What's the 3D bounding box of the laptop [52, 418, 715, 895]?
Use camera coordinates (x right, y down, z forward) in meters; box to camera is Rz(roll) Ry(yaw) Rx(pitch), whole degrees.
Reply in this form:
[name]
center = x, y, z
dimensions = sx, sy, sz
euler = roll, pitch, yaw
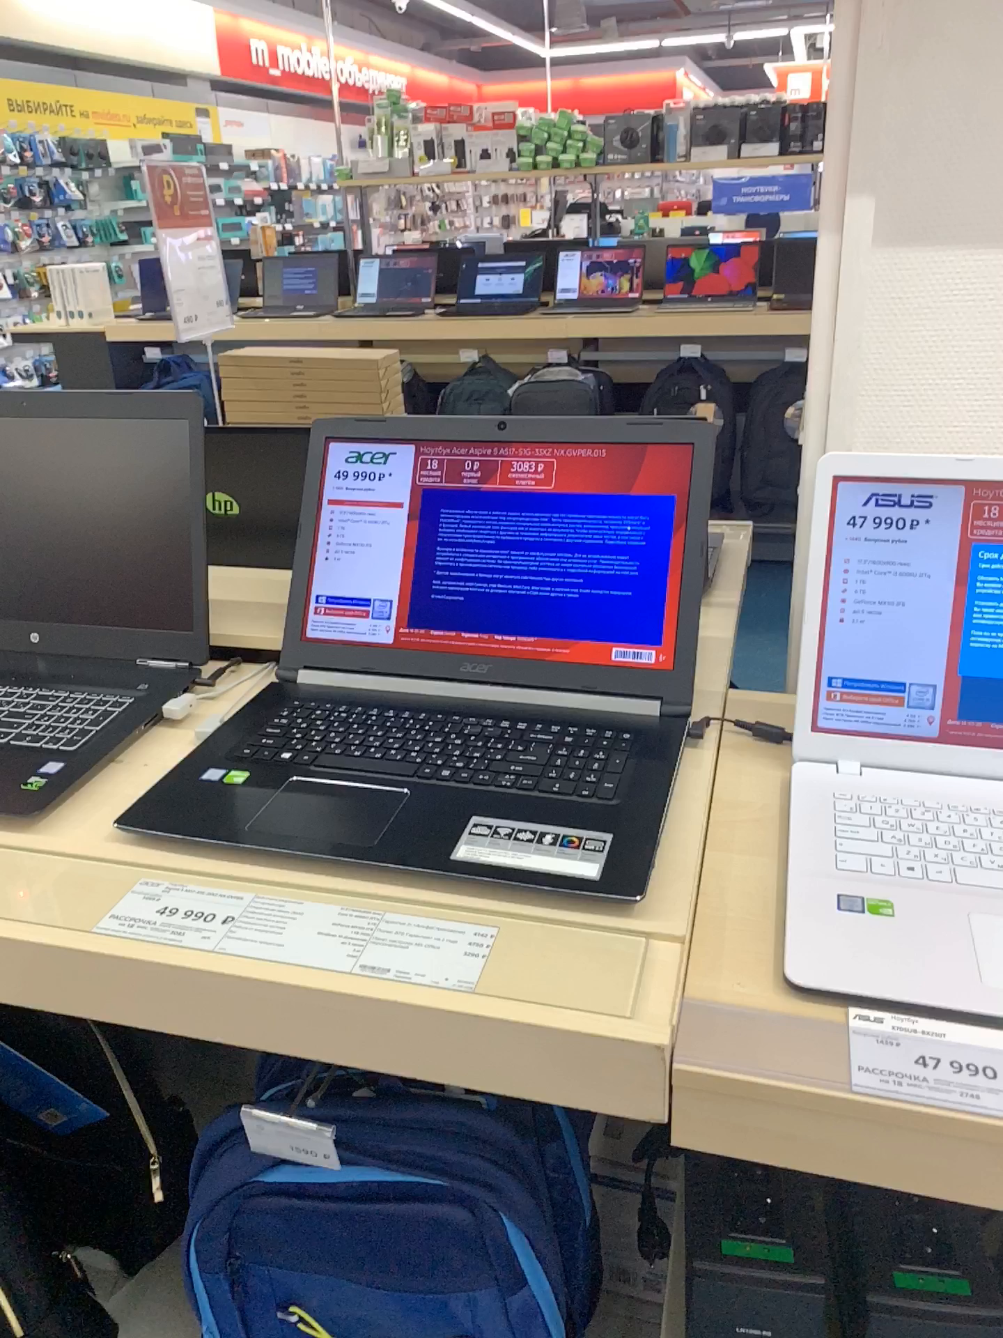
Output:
[laptop]
center = -0.053, -0.055, 0.903
dimensions = 0.420, 0.235, 0.422
euler = 5, 26, 16
